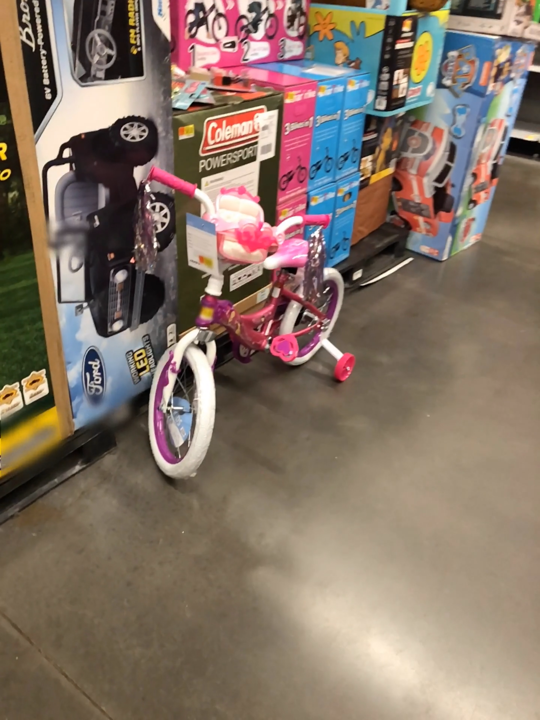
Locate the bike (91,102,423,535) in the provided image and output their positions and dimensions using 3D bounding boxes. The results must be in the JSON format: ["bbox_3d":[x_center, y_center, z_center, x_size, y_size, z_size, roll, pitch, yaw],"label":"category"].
[{"bbox_3d":[0.018,-0.194,1.770,0.477,0.854,0.953,18,37,19],"label":"bike"}]
